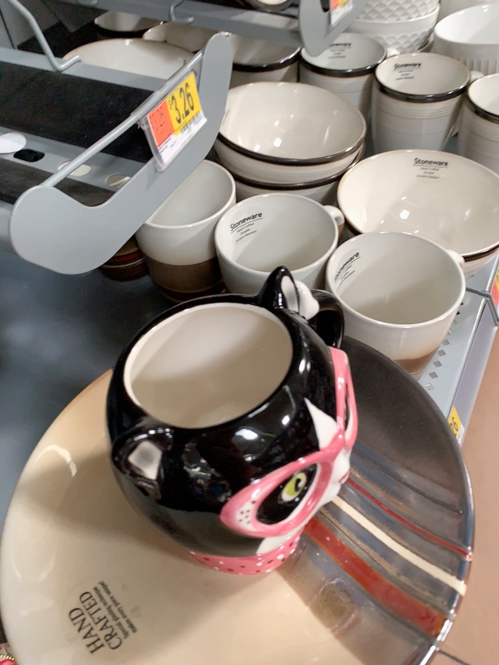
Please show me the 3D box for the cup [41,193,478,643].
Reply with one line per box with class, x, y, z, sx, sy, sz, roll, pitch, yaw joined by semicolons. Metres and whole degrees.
cup;0.013;0.025;0.217;0.096;0.074;0.145;27;58;23
